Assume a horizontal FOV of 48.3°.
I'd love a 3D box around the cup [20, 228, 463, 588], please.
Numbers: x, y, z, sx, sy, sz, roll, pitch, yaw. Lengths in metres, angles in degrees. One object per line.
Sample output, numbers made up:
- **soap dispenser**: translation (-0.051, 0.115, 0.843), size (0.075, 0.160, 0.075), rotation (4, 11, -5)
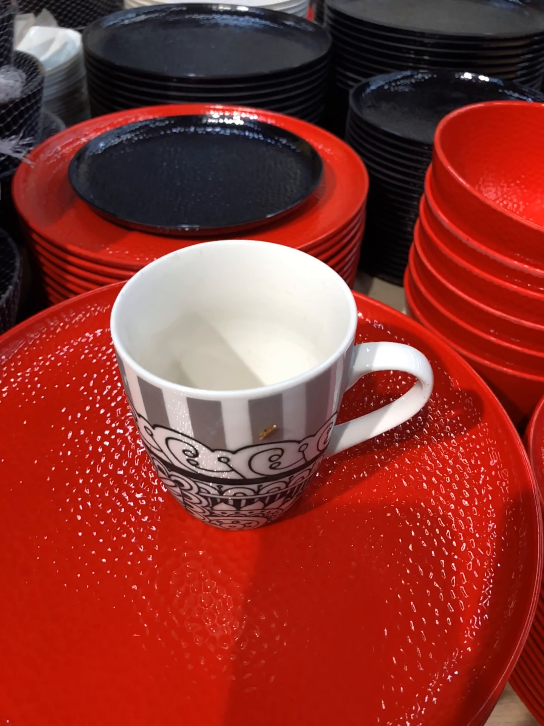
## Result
- **cup**: translation (-0.007, 0.017, 0.227), size (0.120, 0.099, 0.081), rotation (3, 42, 2)
